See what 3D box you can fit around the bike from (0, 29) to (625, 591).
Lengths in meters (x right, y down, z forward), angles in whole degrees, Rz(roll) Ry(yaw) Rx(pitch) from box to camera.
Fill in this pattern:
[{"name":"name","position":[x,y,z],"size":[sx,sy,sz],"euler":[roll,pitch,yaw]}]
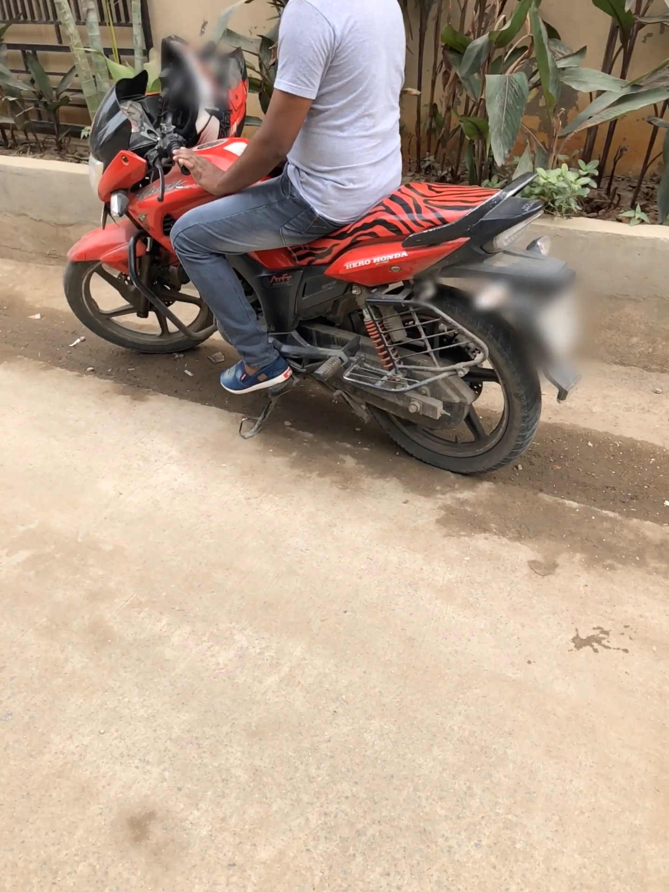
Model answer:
[{"name":"bike","position":[-0.251,-0.524,2.258],"size":[1.788,1.207,0.693],"euler":[18,39,26]}]
